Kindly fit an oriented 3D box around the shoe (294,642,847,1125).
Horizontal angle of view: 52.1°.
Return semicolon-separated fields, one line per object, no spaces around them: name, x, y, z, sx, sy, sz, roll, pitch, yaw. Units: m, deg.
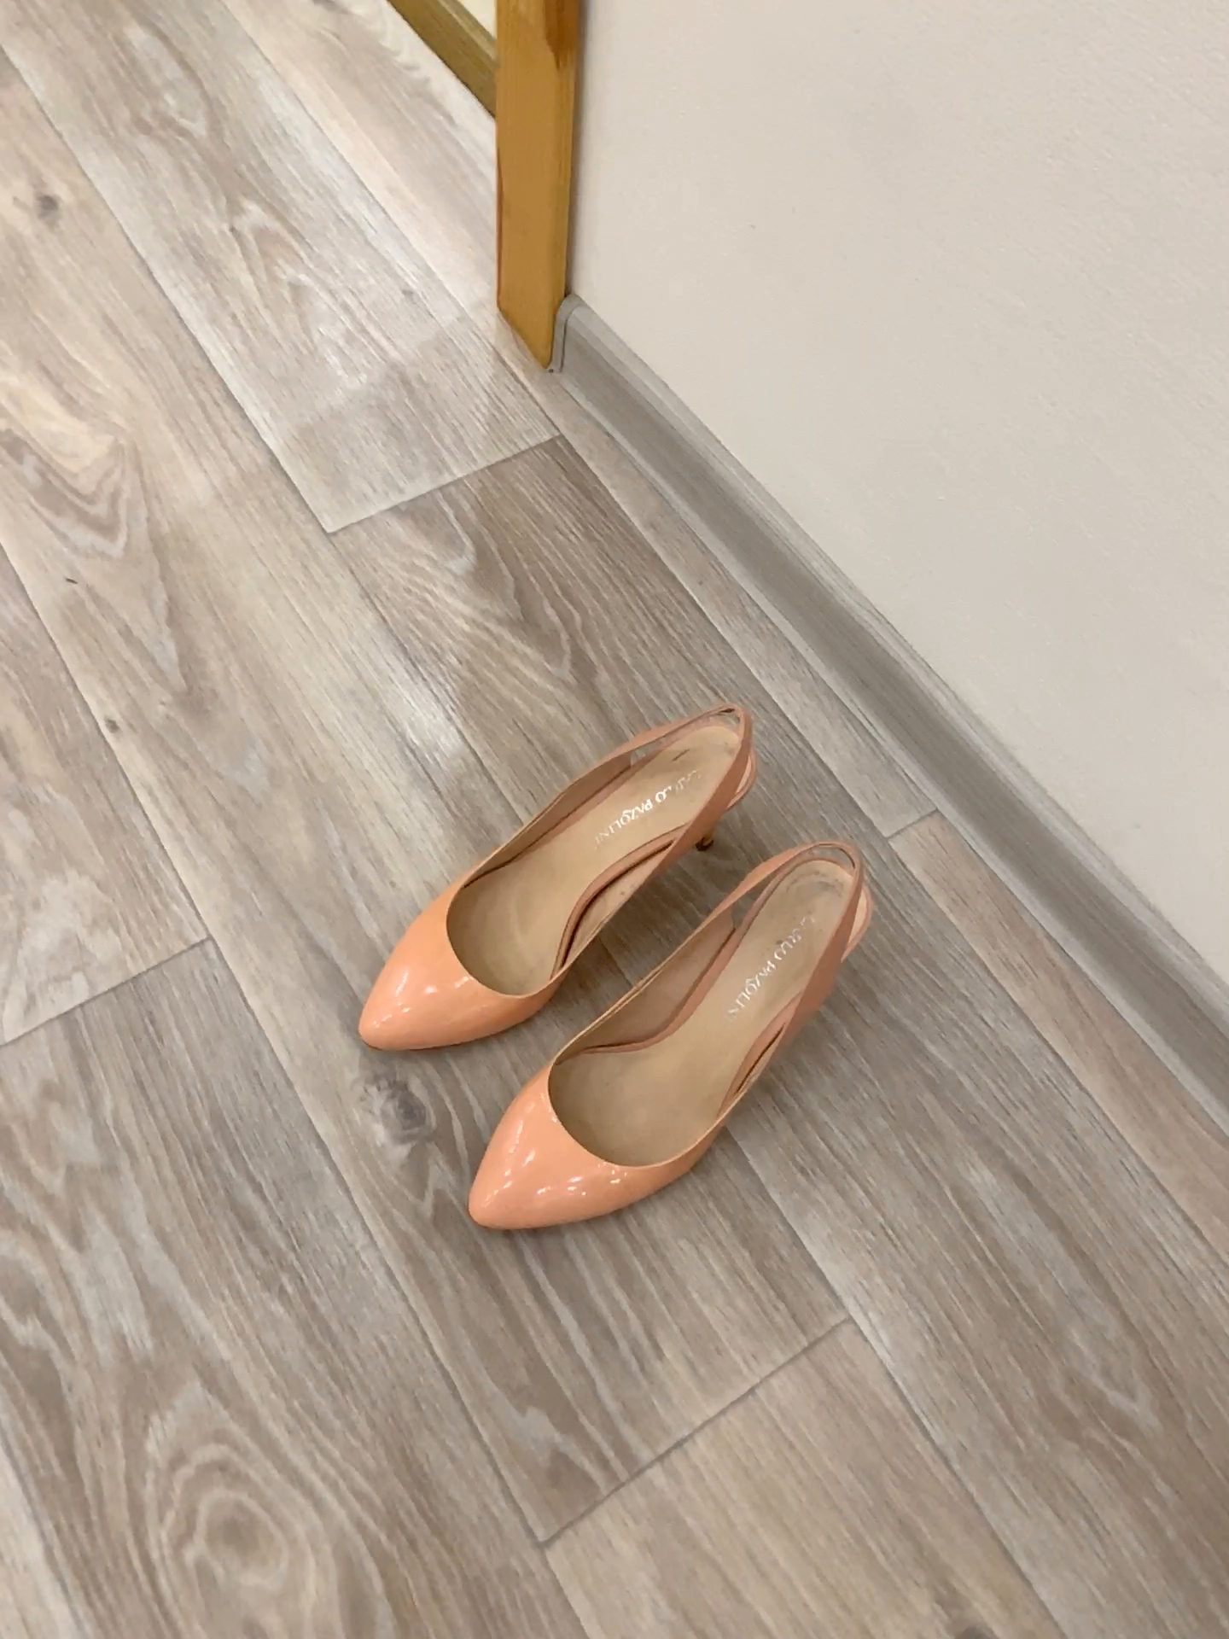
shoe;-0.019;0.031;0.619;0.240;0.120;0.090;-31;69;-19

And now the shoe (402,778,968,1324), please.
shoe;0.031;0.106;0.579;0.240;0.120;0.090;-36;71;-20
